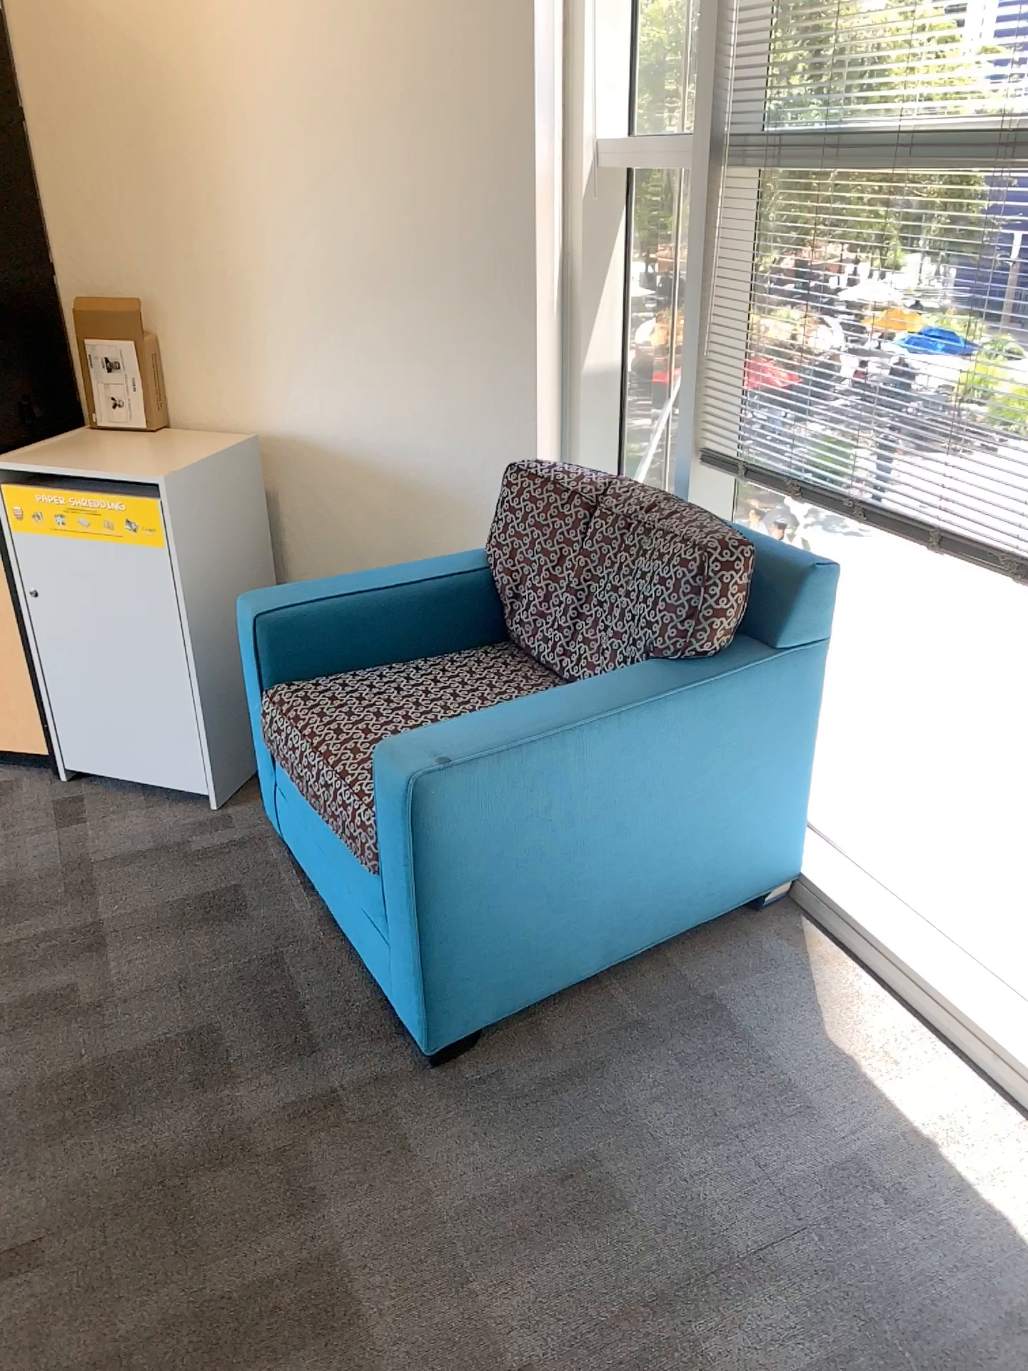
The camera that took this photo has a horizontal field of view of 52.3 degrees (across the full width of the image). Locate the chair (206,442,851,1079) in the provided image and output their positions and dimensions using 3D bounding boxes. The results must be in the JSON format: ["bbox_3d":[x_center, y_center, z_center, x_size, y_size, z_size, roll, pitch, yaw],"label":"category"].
[{"bbox_3d":[-0.014,0.041,2.221,0.910,0.805,0.935,-15,30,-27],"label":"chair"}]
